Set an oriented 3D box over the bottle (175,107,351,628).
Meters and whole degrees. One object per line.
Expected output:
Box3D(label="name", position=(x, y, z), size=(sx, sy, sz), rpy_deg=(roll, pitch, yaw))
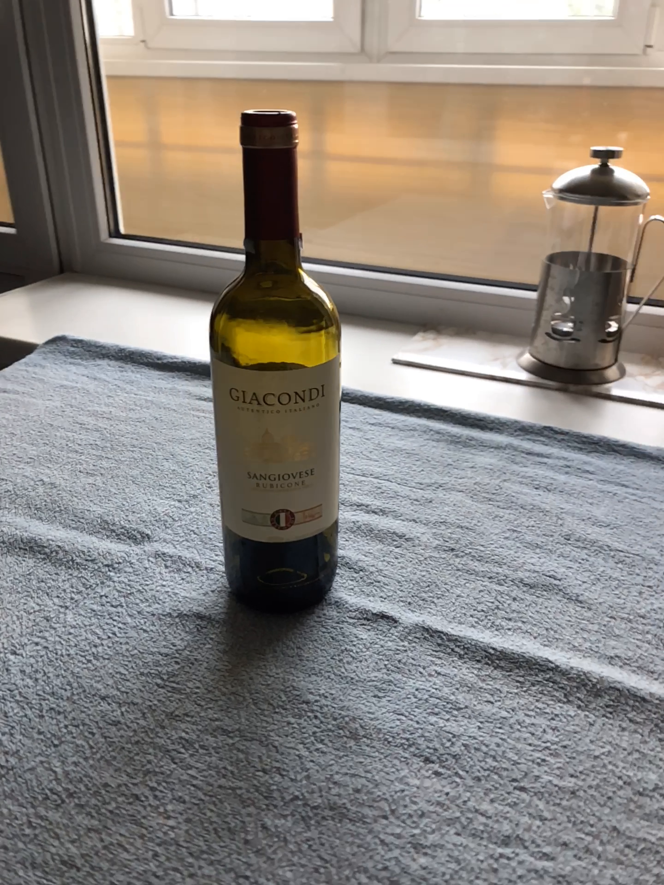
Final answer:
Box3D(label="bottle", position=(-0.035, -0.034, 0.436), size=(0.080, 0.299, 0.081), rpy_deg=(0, 27, 0))
